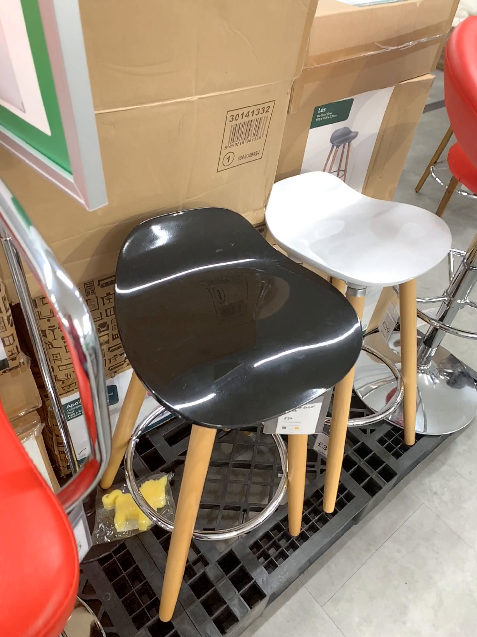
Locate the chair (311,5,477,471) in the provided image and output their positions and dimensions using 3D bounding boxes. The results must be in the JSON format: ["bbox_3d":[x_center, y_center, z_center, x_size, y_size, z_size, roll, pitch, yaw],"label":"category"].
[{"bbox_3d":[0.614,-0.171,1.255,0.511,0.980,0.452,-30,54,-33],"label":"chair"}]

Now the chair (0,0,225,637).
[{"bbox_3d":[-0.403,0.328,0.505,0.551,1.029,0.452,-30,54,-33],"label":"chair"}]

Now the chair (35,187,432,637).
[{"bbox_3d":[-0.050,0.191,0.946,0.430,0.673,0.432,-20,49,-27],"label":"chair"}]

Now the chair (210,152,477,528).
[{"bbox_3d":[0.255,0.048,1.181,0.410,0.663,0.482,-26,52,-31],"label":"chair"}]
